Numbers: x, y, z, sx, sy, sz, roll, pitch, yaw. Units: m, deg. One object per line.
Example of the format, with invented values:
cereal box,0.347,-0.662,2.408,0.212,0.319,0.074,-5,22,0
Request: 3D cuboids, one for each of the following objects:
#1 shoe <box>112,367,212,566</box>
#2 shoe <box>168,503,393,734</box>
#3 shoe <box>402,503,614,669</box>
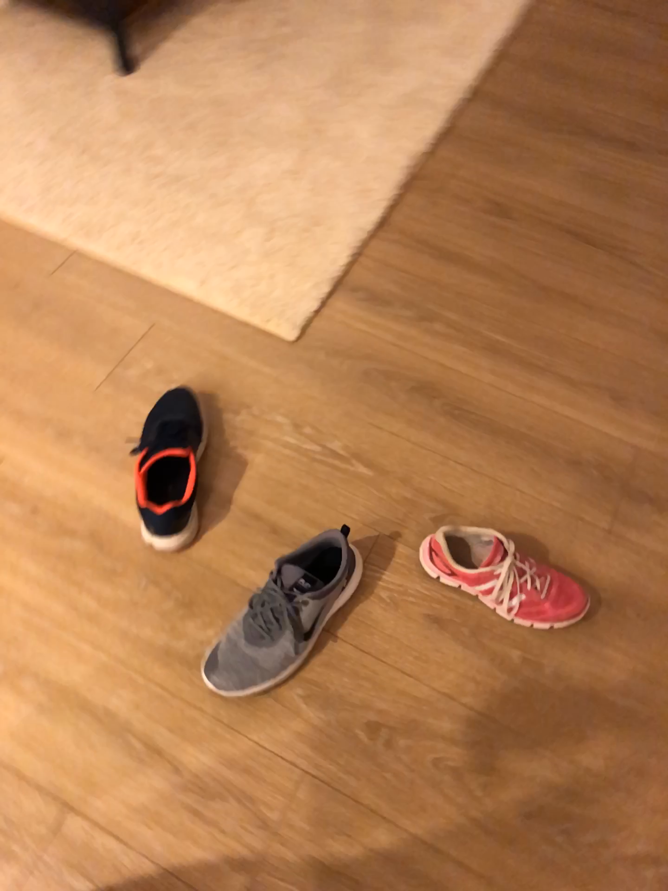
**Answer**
shoe,-0.277,0.029,1.220,0.130,0.100,0.321,-2,58,-4
shoe,-0.071,0.246,1.078,0.130,0.080,0.321,39,64,20
shoe,0.264,0.214,1.128,0.280,0.090,0.130,21,60,11
